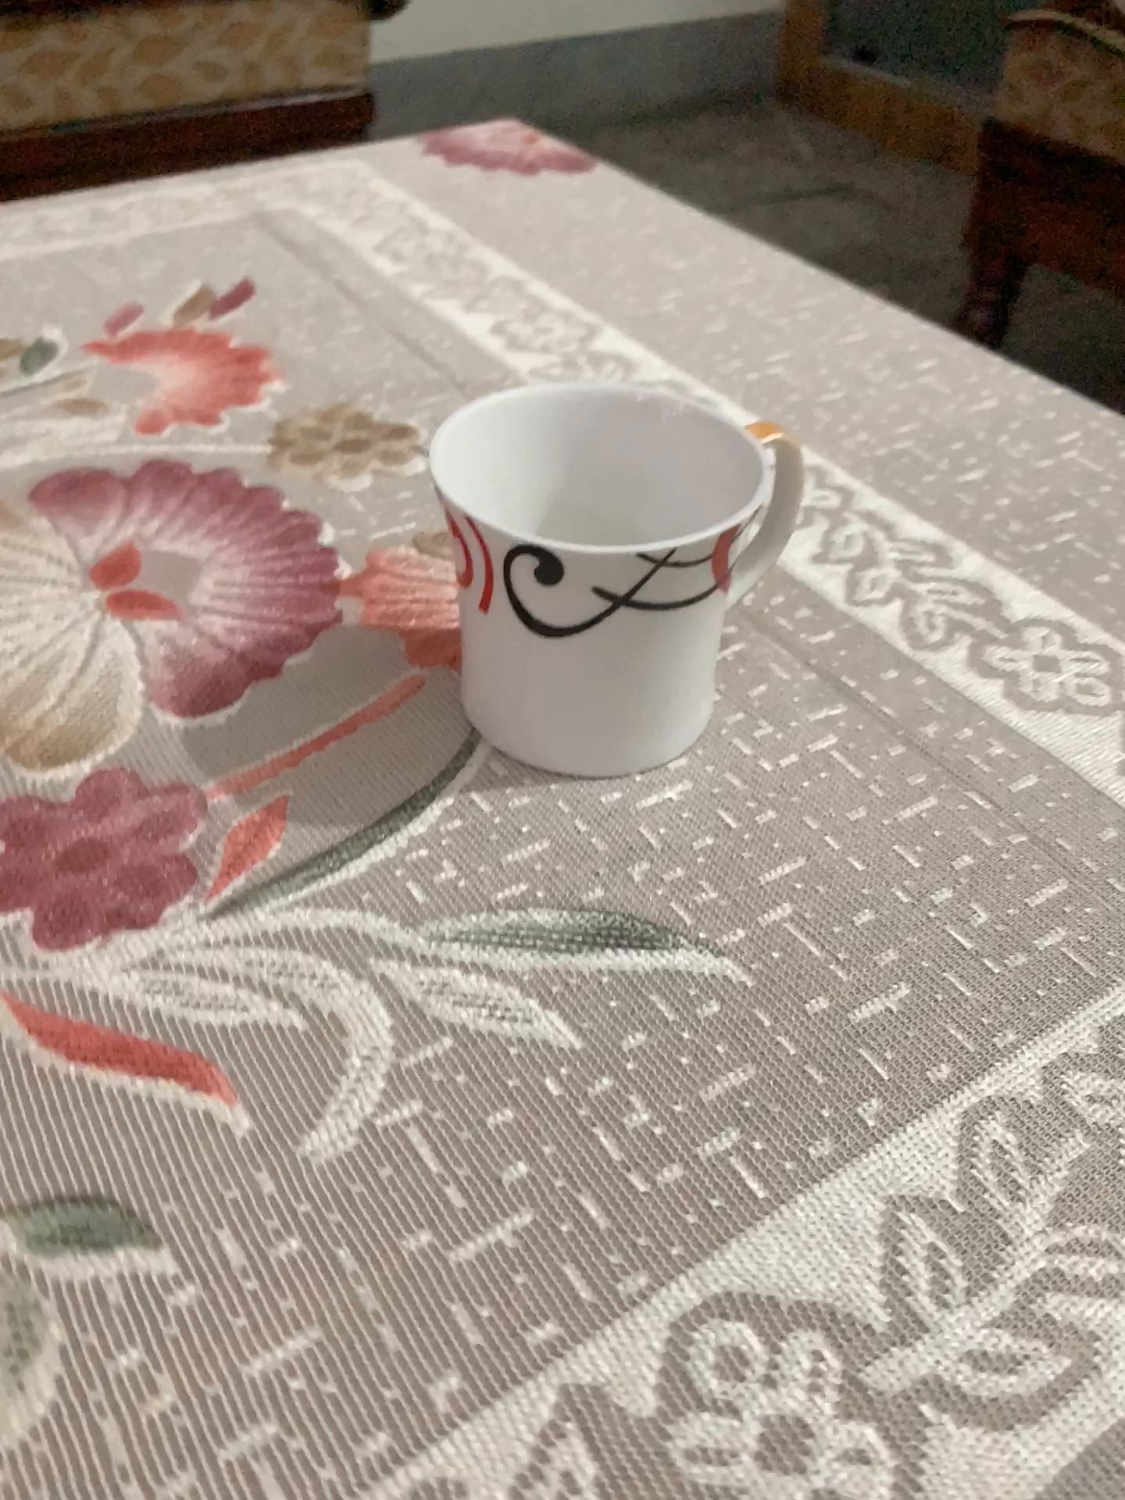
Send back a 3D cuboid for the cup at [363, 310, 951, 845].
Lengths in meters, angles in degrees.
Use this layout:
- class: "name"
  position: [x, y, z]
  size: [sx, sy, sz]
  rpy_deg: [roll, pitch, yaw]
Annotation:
- class: "cup"
  position: [0.018, -0.041, 0.247]
  size: [0.090, 0.060, 0.070]
  rpy_deg: [-28, 51, -28]
